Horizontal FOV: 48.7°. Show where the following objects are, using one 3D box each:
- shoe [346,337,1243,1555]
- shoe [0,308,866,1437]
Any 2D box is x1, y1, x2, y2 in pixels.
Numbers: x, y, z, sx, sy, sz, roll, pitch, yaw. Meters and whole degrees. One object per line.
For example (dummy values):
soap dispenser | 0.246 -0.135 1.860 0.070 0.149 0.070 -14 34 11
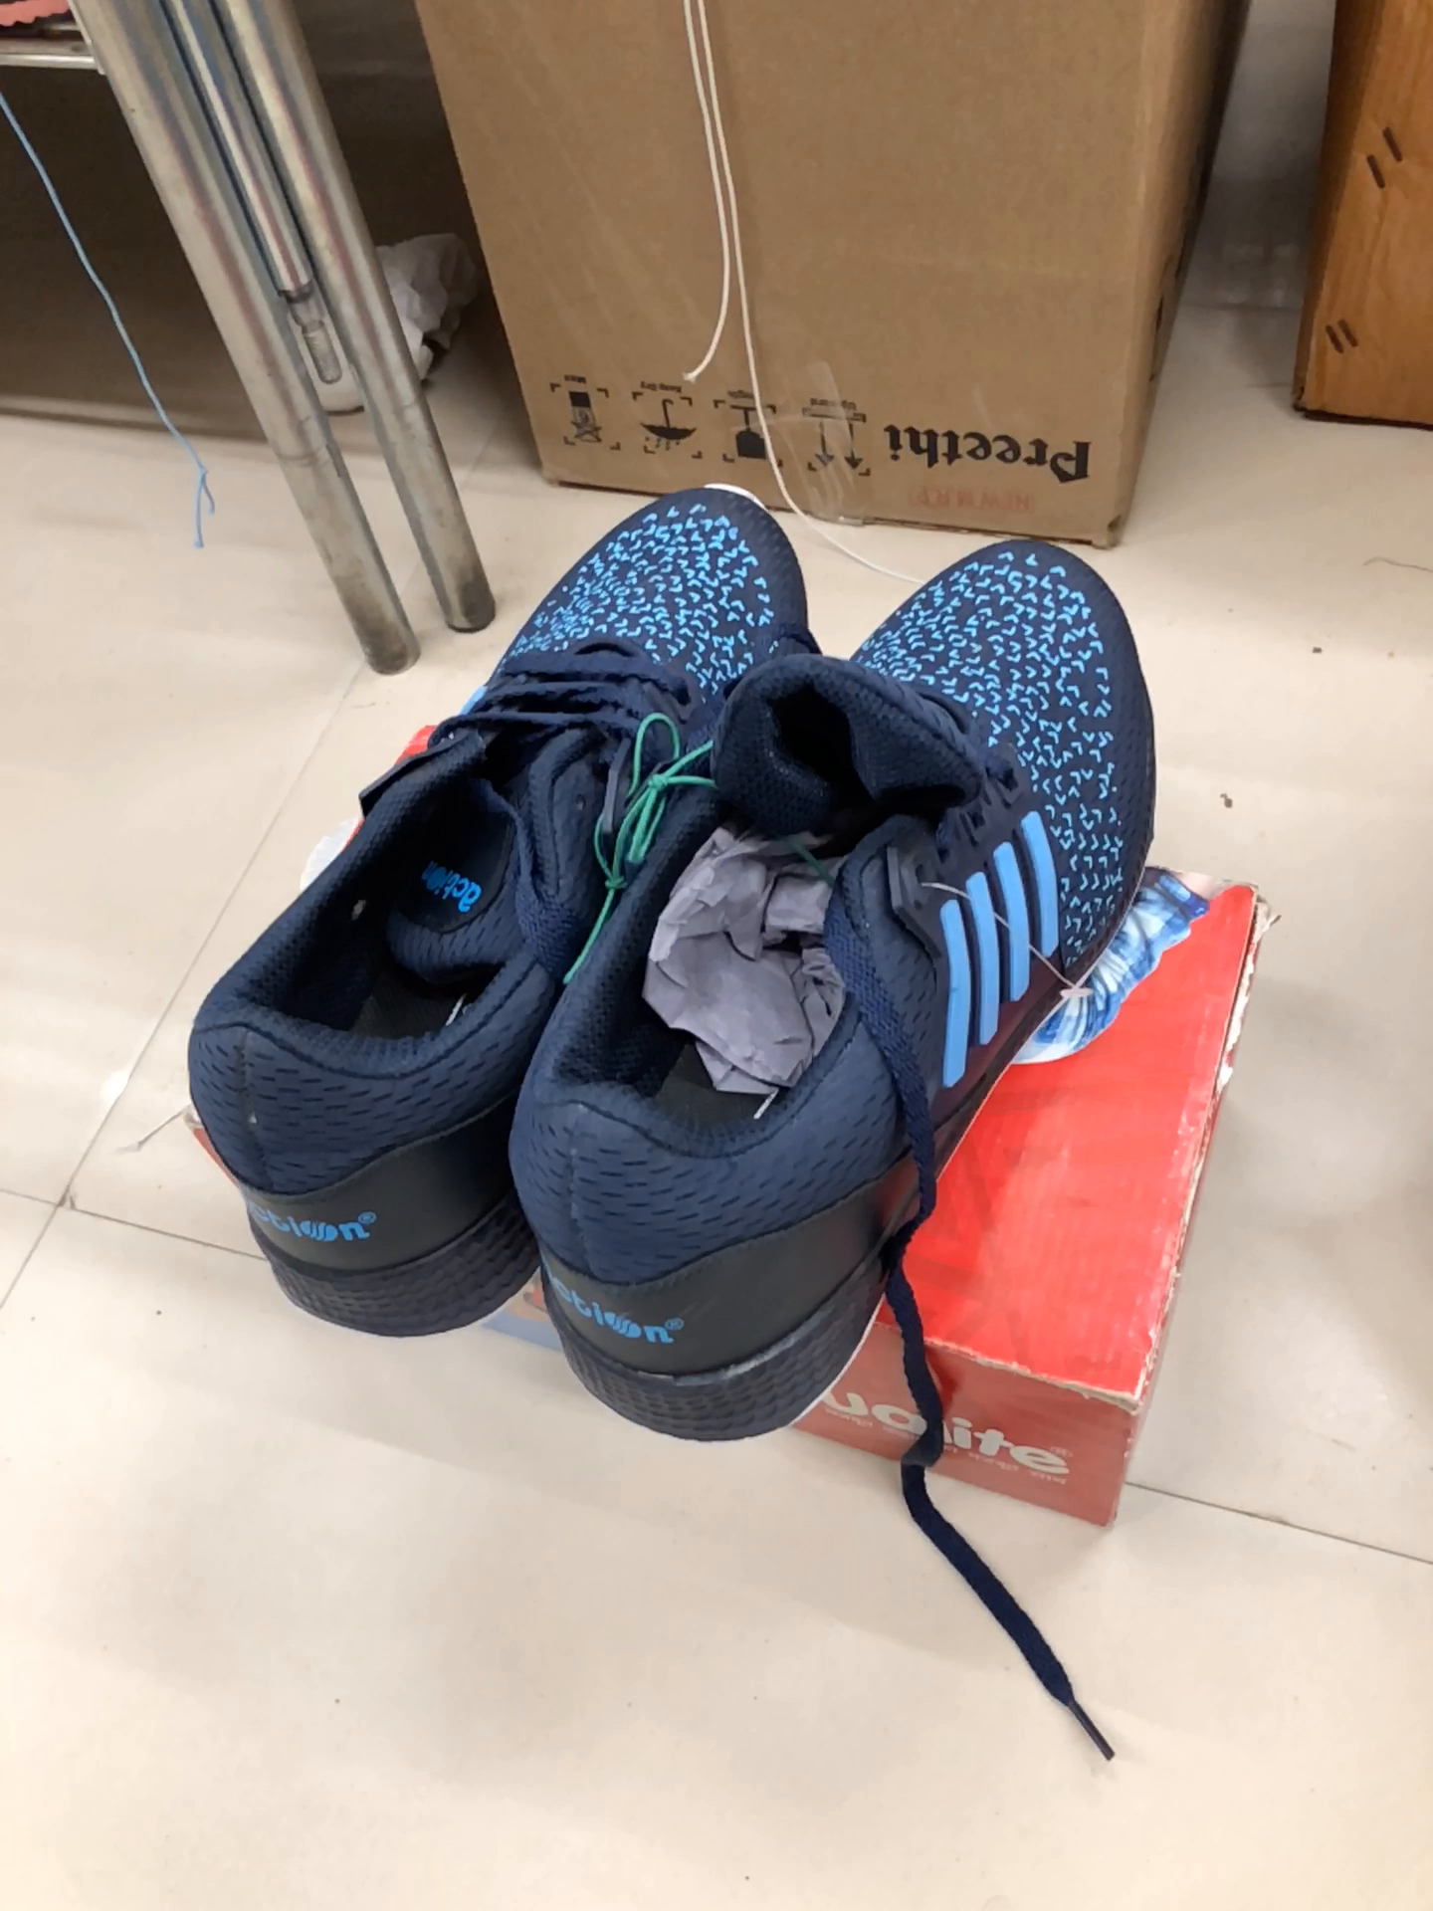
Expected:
shoe | 0.039 -0.011 0.397 0.093 0.132 0.264 19 61 21
shoe | -0.051 -0.032 0.426 0.101 0.133 0.264 13 59 17
